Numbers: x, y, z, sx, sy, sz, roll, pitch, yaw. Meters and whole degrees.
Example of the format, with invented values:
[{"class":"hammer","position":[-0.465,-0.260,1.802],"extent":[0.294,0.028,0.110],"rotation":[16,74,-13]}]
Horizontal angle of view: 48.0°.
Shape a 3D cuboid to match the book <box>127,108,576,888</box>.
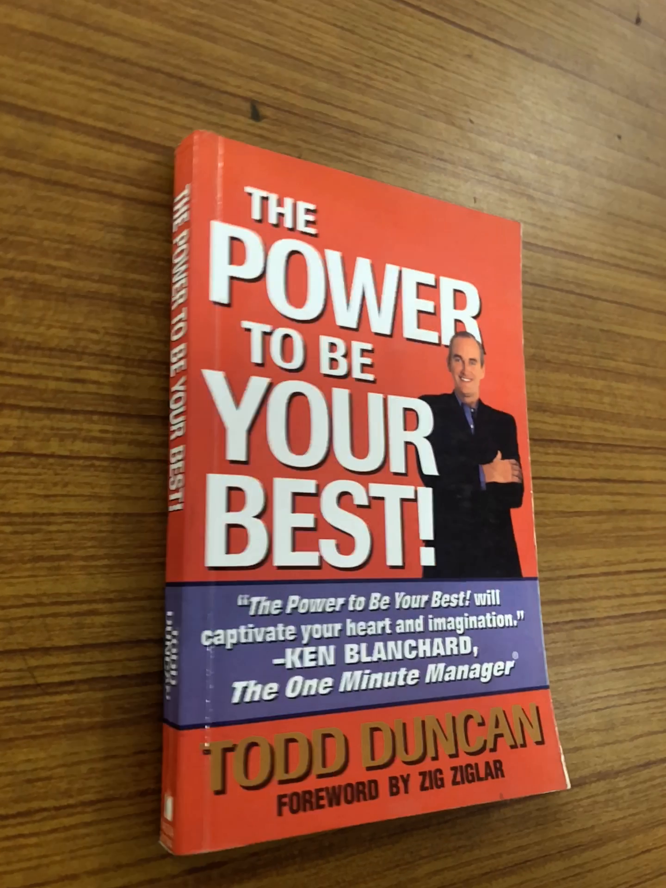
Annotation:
[{"class":"book","position":[0.012,0.014,0.259],"extent":[0.150,0.030,0.220],"rotation":[5,78,-30]}]
